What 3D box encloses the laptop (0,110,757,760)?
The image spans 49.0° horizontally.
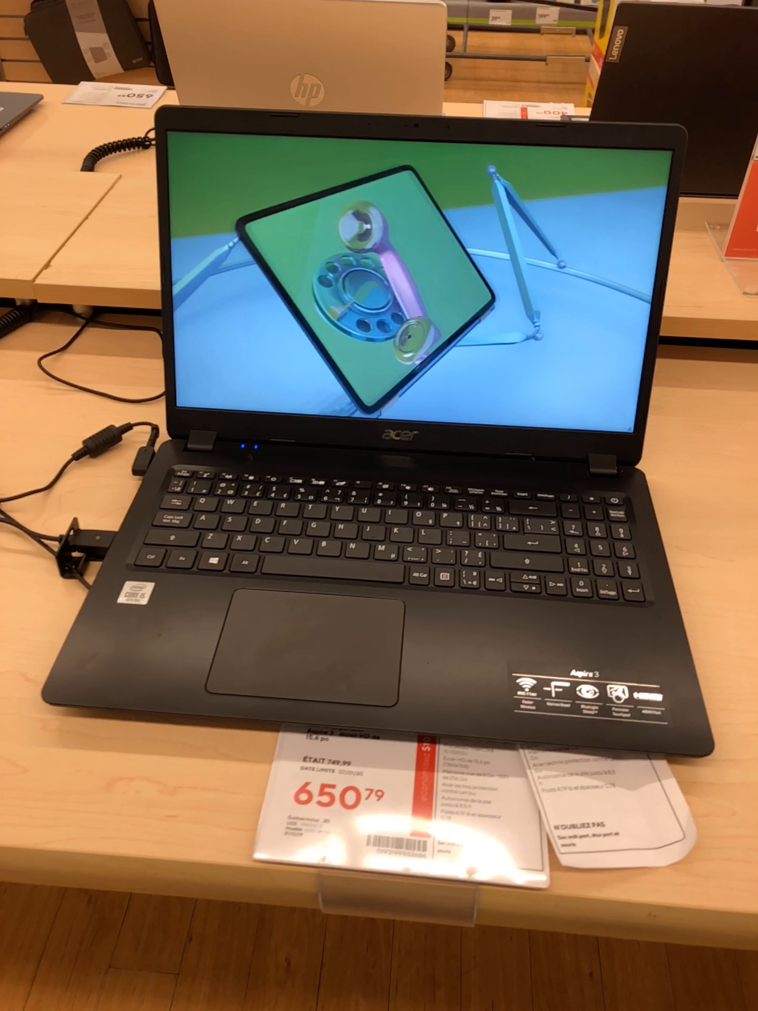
[{"bbox_3d":[0.010,-0.068,0.498,0.354,0.210,0.329,4,41,3],"label":"laptop"}]
